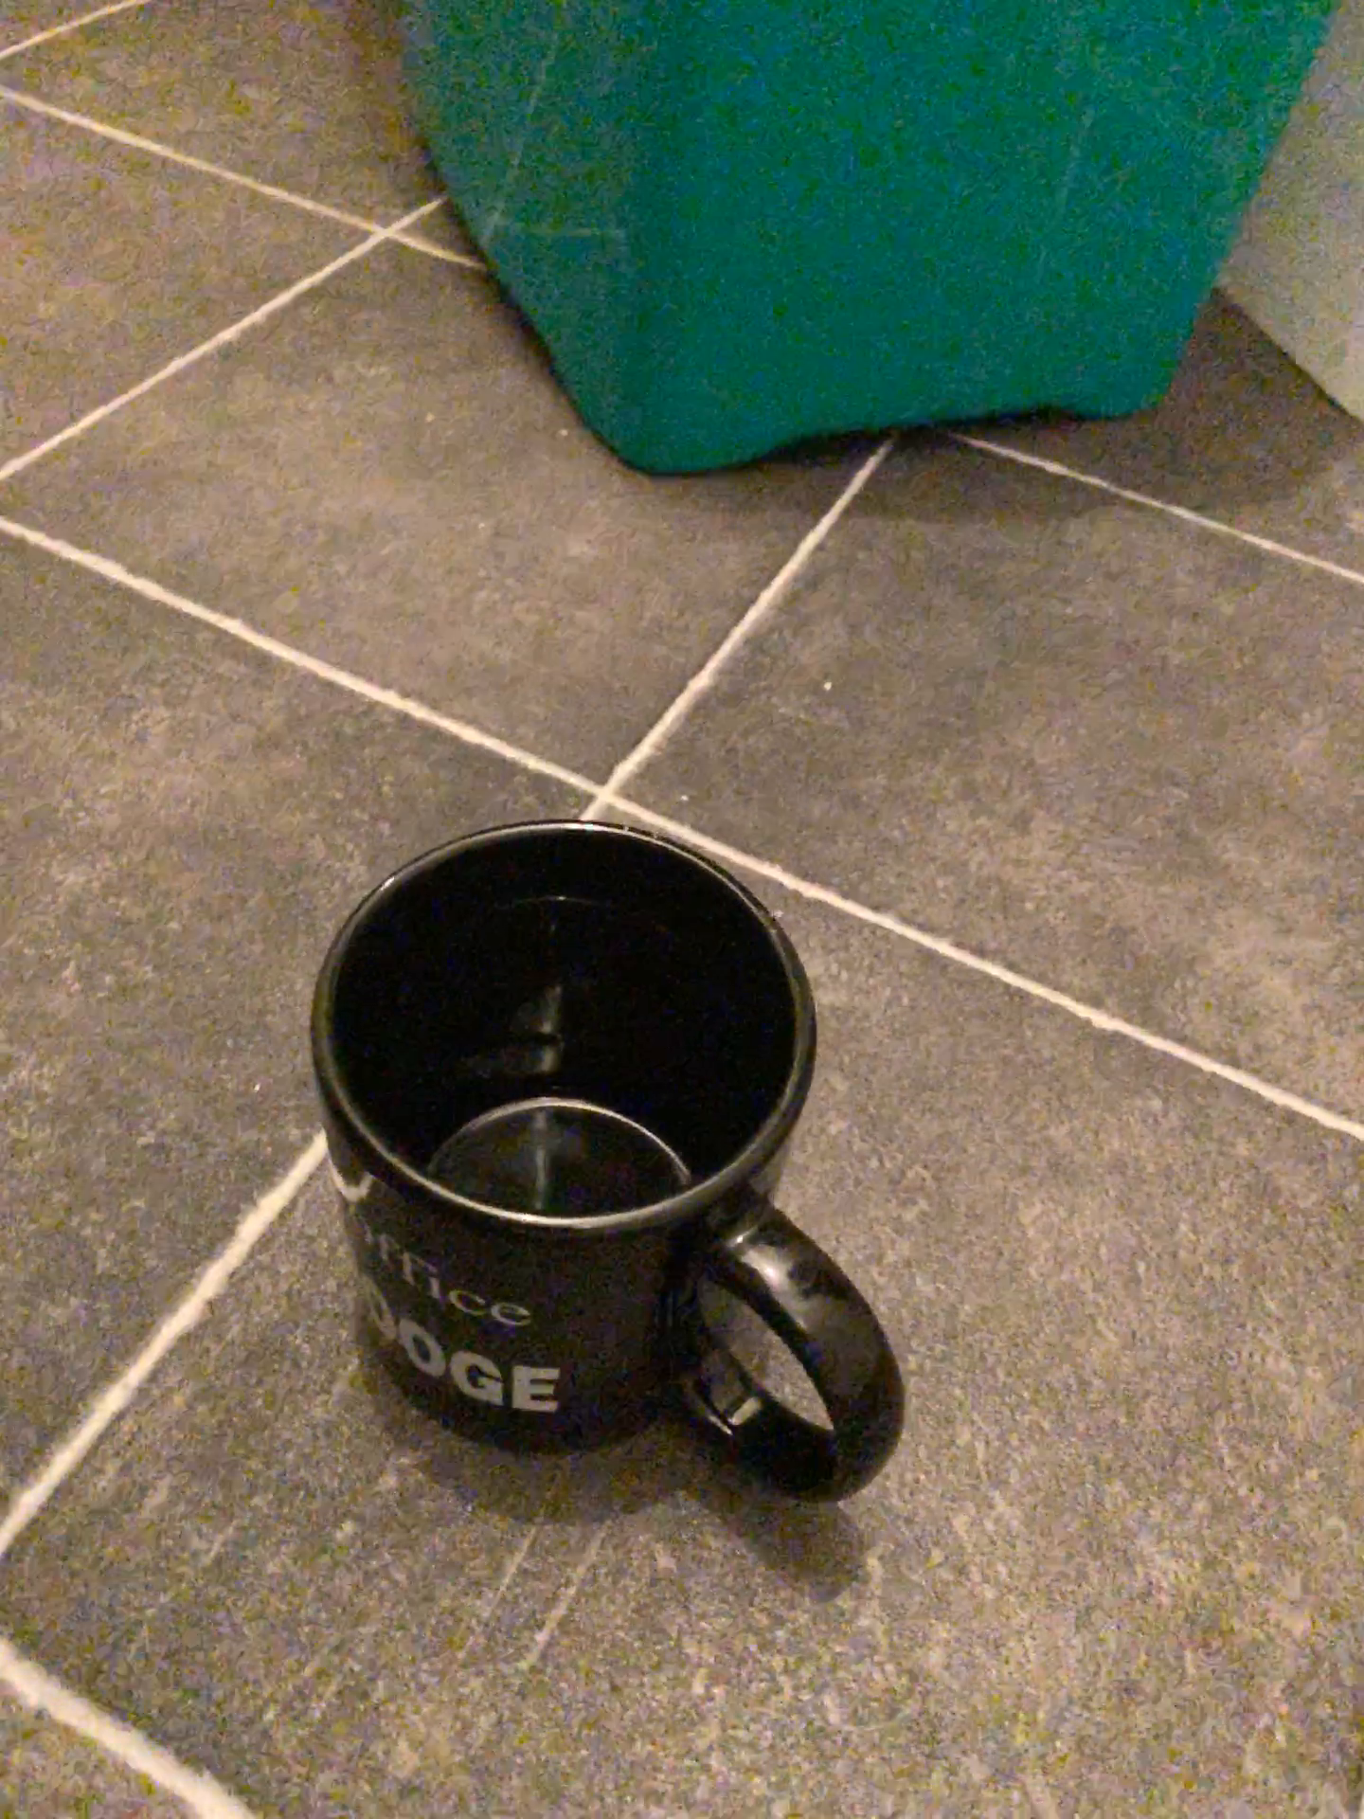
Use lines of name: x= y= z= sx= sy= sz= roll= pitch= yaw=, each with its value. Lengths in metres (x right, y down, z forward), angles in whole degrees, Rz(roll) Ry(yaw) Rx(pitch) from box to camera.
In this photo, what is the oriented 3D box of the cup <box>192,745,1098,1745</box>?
cup: x=-0.013 y=0.061 z=0.257 sx=0.080 sy=0.115 sz=0.117 roll=-34 pitch=62 yaw=-31
